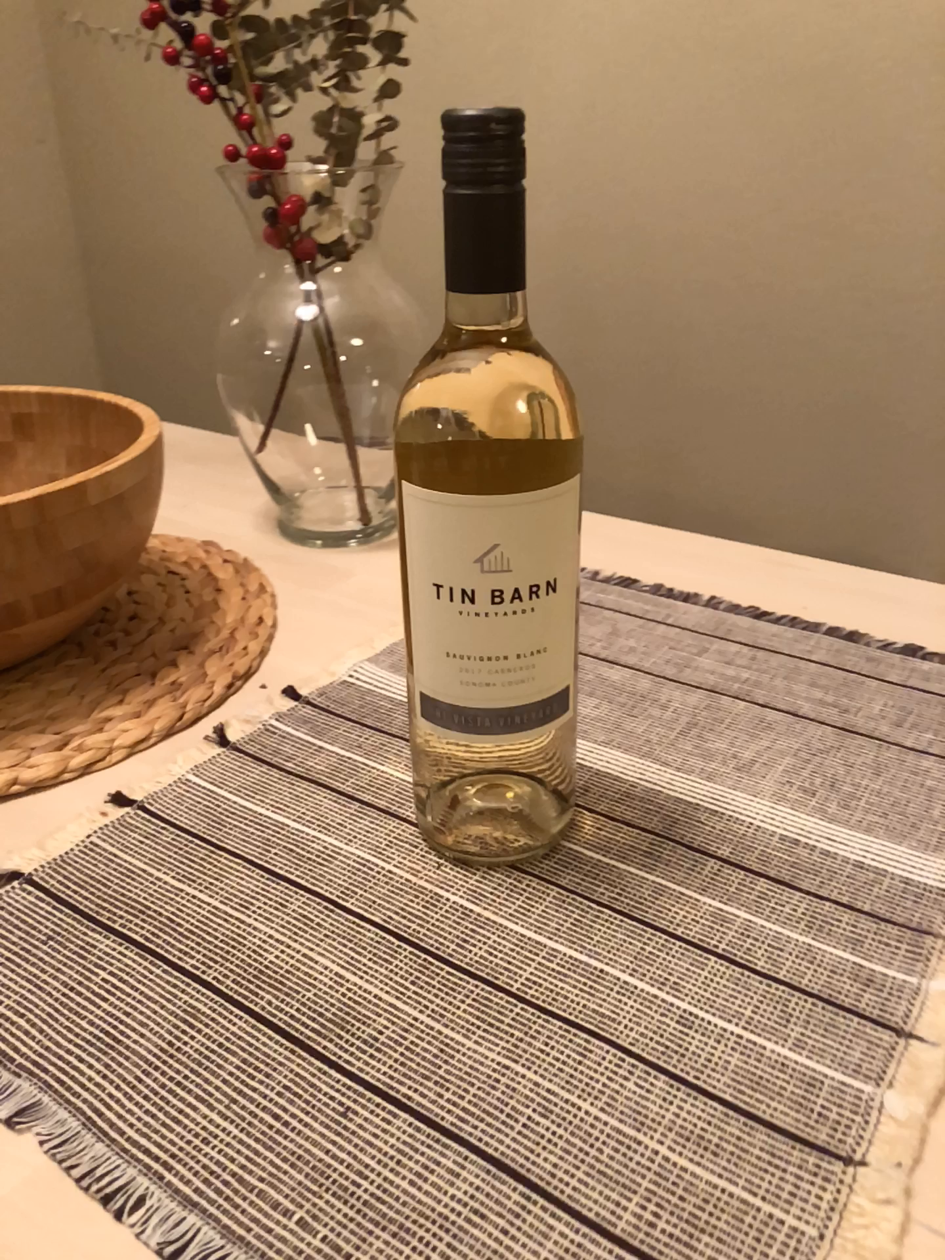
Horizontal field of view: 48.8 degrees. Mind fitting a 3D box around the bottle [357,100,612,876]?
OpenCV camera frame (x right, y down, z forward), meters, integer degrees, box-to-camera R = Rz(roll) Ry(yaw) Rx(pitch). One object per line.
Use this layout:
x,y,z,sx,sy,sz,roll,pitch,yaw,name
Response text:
0.005,-0.047,0.425,0.080,0.298,0.080,-1,25,1,bottle
